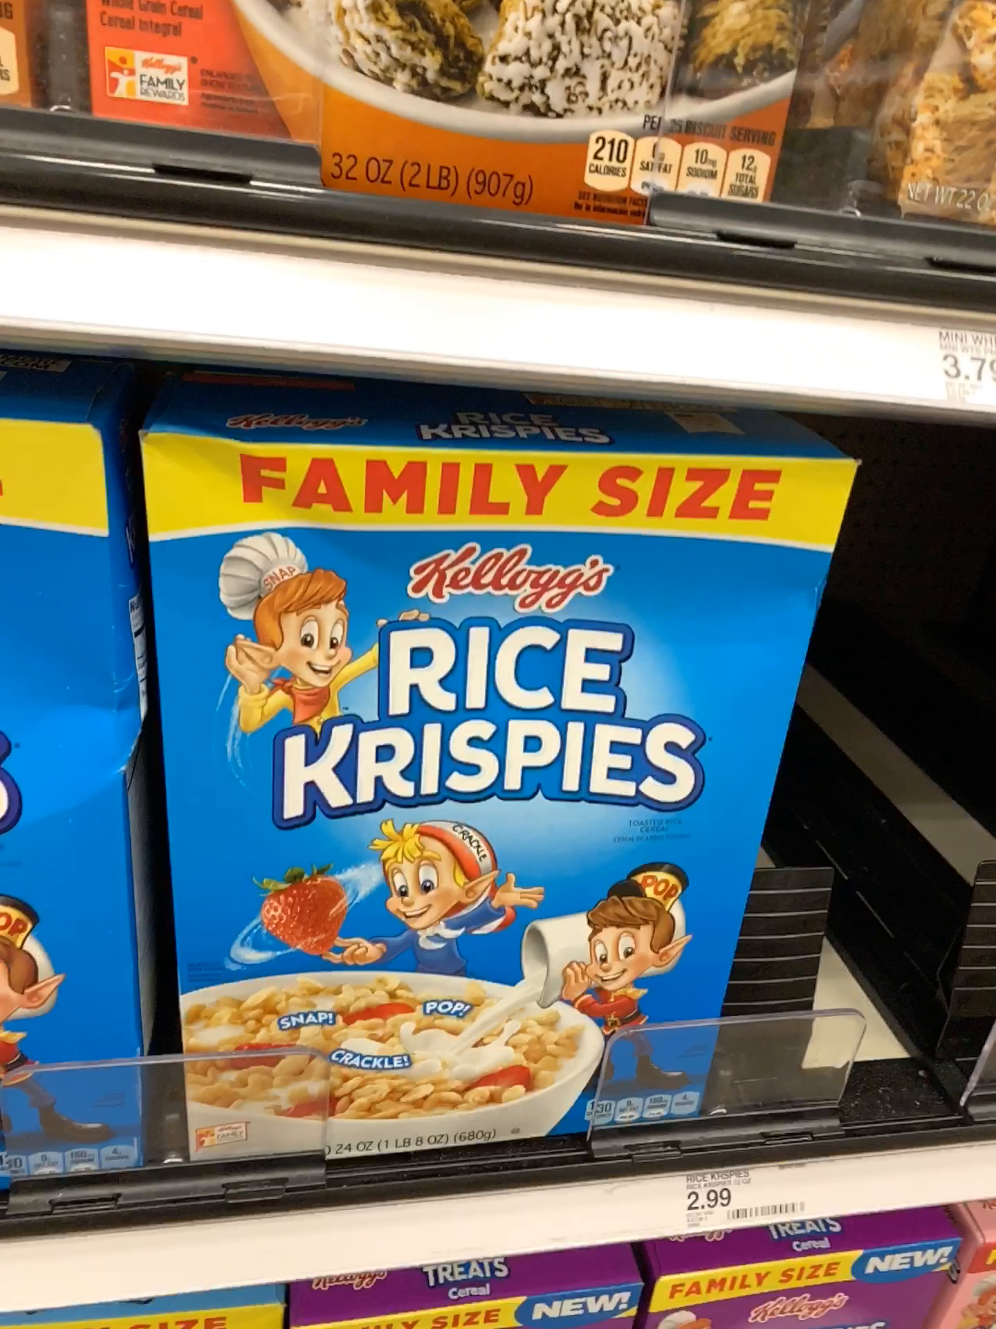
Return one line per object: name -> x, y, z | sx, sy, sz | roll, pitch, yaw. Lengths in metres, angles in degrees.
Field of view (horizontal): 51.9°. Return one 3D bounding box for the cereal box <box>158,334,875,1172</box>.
cereal box -> -0.014, 0.050, 0.462 | 0.250, 0.348, 0.100 | 0, 27, -15
